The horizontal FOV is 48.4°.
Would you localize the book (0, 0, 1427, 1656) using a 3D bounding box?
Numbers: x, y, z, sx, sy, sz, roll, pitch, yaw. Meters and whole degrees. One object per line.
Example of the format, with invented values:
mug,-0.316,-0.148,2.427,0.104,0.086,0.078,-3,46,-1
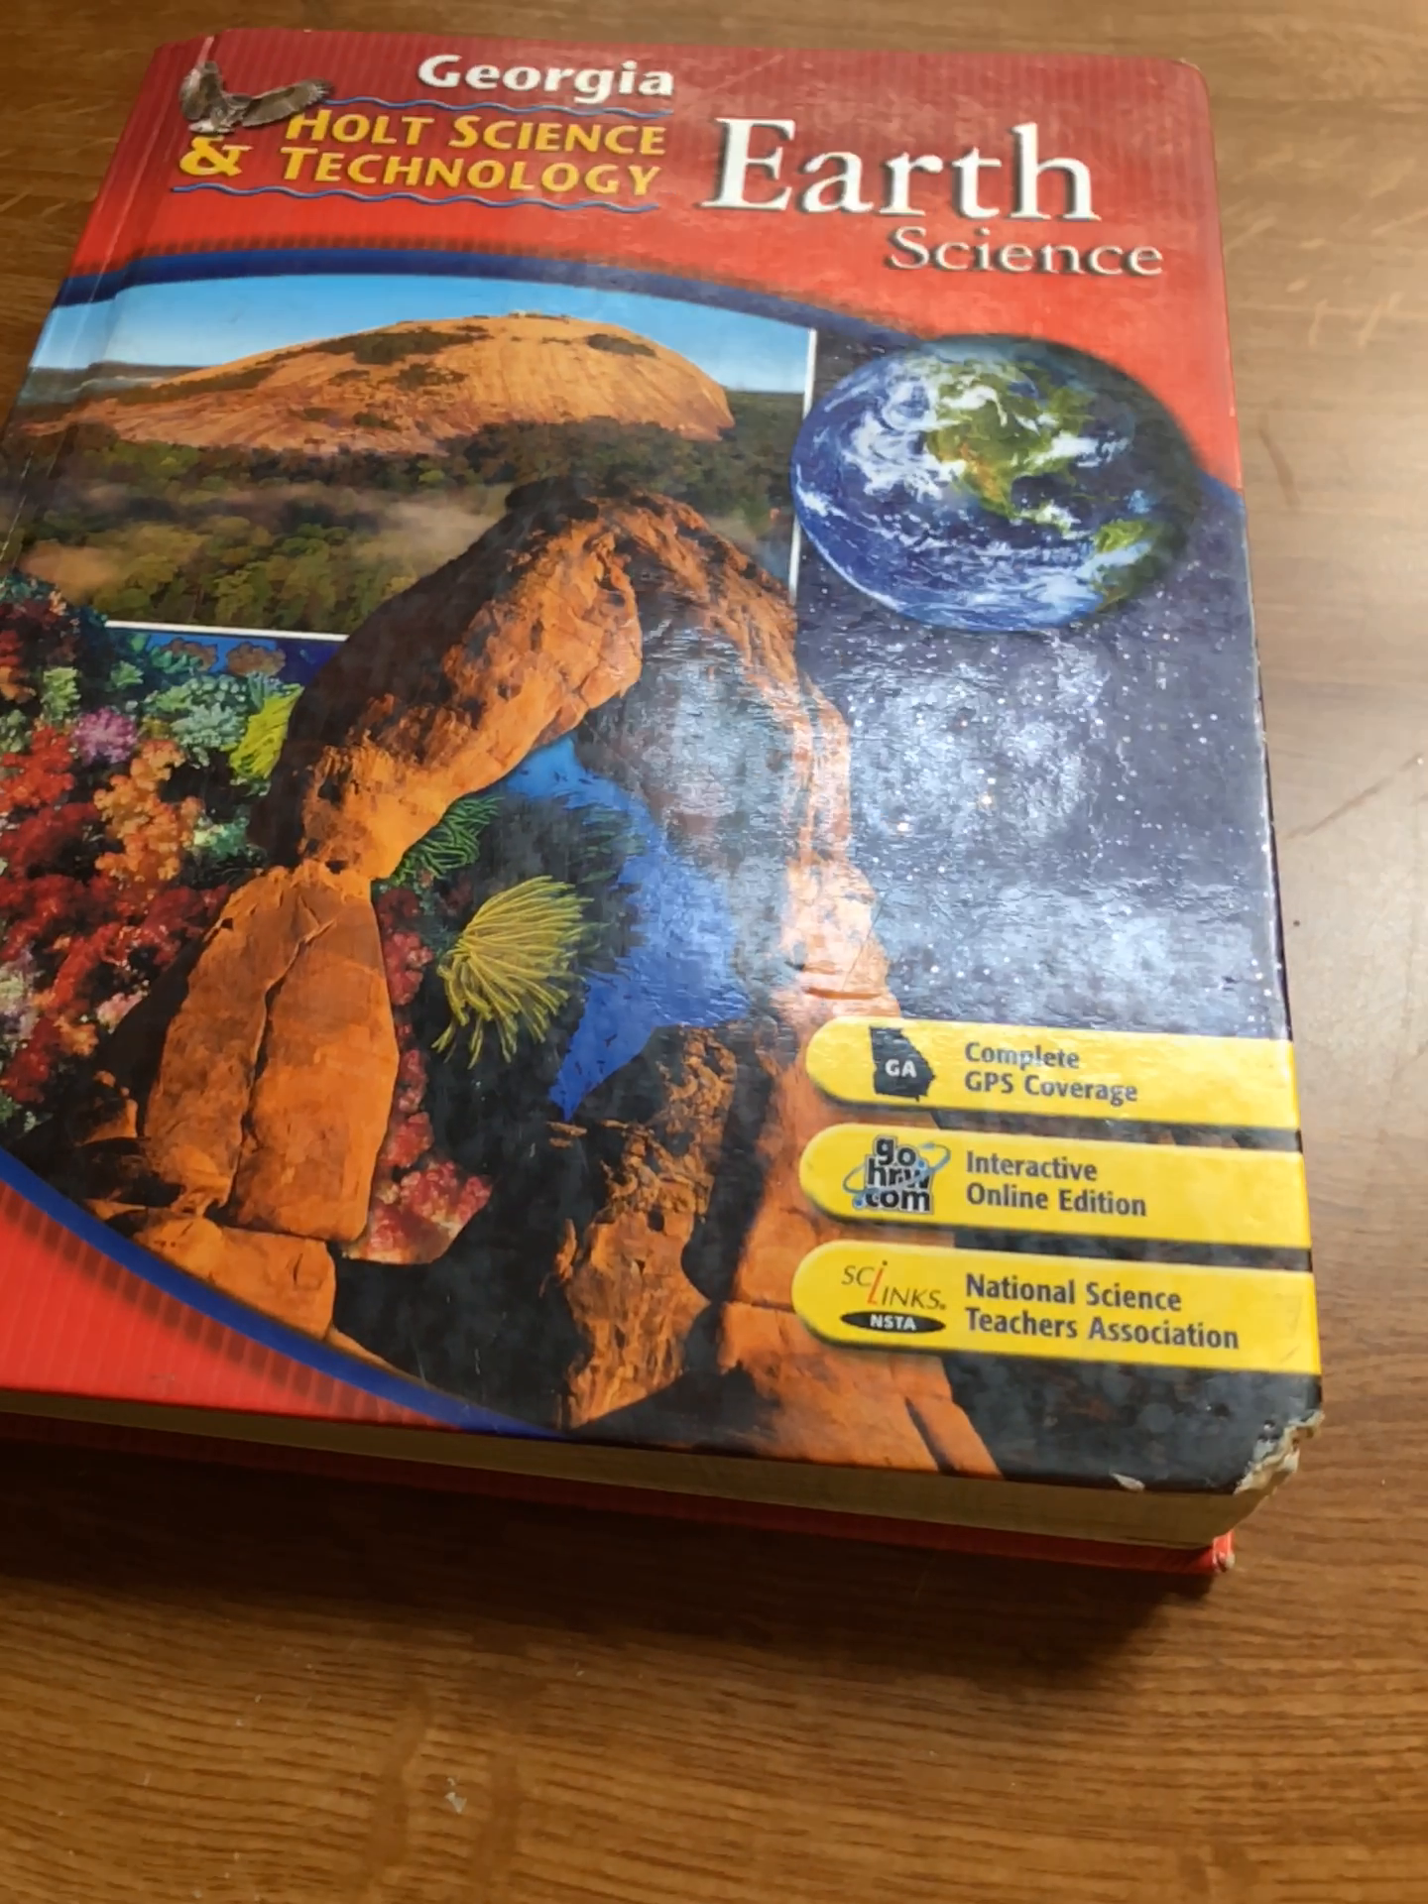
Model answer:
book,-0.003,-0.047,0.252,0.214,0.050,0.266,5,62,3
